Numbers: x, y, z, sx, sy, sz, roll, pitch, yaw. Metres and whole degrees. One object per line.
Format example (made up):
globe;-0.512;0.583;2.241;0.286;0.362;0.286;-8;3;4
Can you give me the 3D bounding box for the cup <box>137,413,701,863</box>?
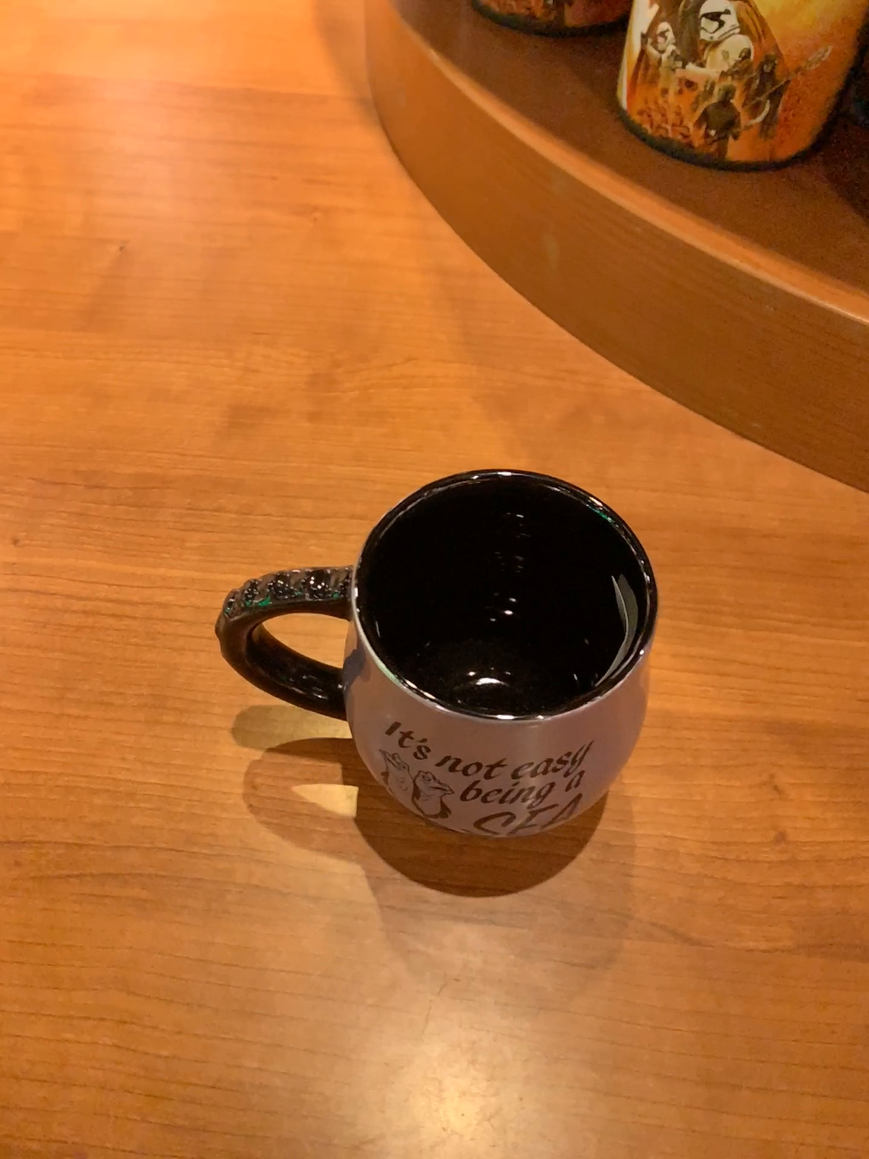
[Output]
cup;-0.001;0.020;0.260;0.125;0.089;0.087;4;56;2
